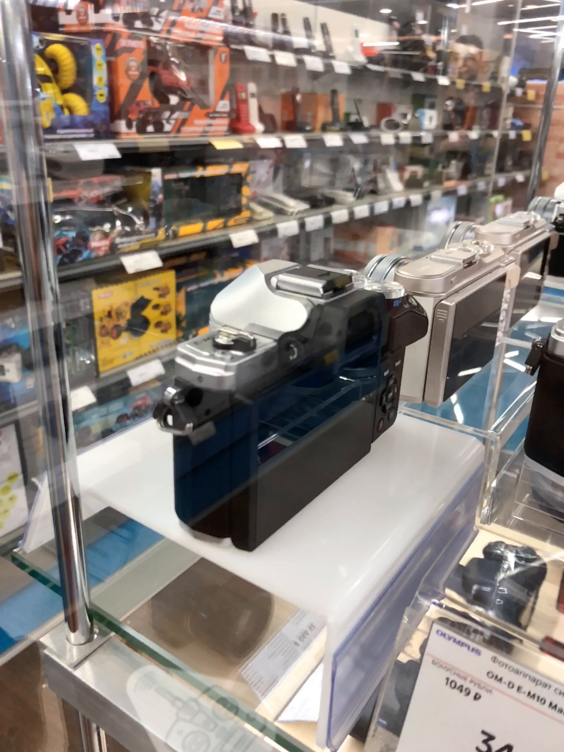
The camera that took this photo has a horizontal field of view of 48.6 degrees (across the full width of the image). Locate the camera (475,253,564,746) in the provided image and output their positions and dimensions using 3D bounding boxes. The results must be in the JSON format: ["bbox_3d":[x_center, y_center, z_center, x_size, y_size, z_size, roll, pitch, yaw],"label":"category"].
[{"bbox_3d":[0.153,0.018,0.207,0.136,0.084,0.102,15,26,29],"label":"camera"}]

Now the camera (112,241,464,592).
[{"bbox_3d":[0.009,0.001,0.231,0.064,0.077,0.122,17,27,31],"label":"camera"}]

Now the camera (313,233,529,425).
[{"bbox_3d":[0.082,-0.035,0.357,0.068,0.068,0.125,17,27,32],"label":"camera"}]
